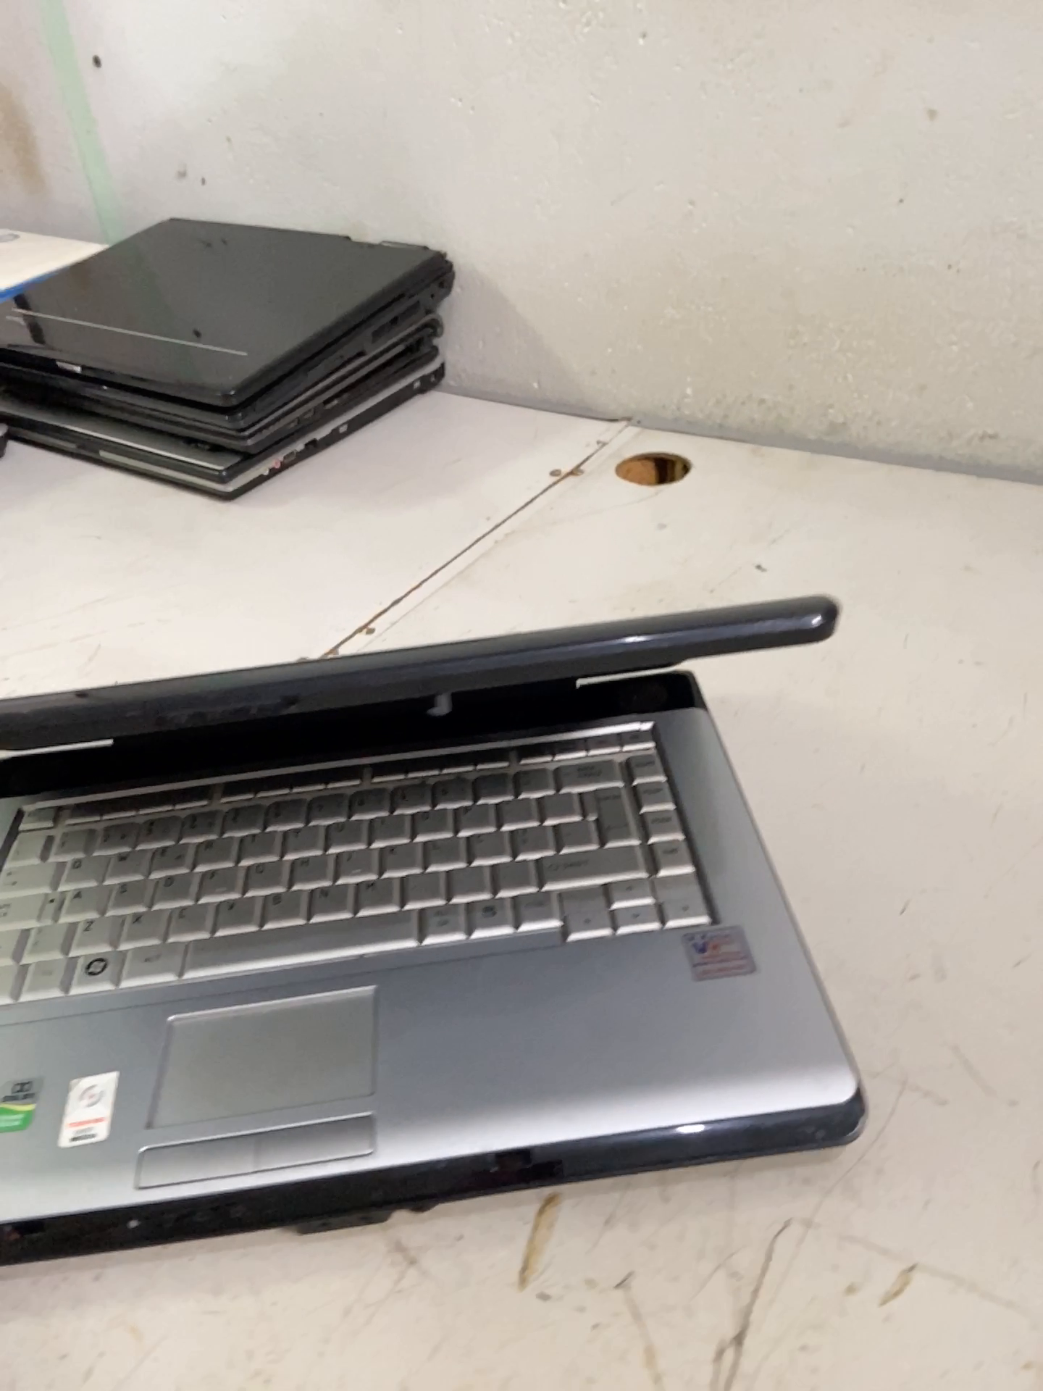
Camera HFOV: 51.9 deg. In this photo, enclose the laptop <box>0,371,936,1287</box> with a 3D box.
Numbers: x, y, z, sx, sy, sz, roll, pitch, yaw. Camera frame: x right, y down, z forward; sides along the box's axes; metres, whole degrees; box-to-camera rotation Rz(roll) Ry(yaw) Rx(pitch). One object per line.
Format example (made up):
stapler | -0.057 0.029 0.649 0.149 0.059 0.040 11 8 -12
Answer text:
laptop | -0.081 0.020 0.389 0.346 0.152 0.259 -7 36 -2
